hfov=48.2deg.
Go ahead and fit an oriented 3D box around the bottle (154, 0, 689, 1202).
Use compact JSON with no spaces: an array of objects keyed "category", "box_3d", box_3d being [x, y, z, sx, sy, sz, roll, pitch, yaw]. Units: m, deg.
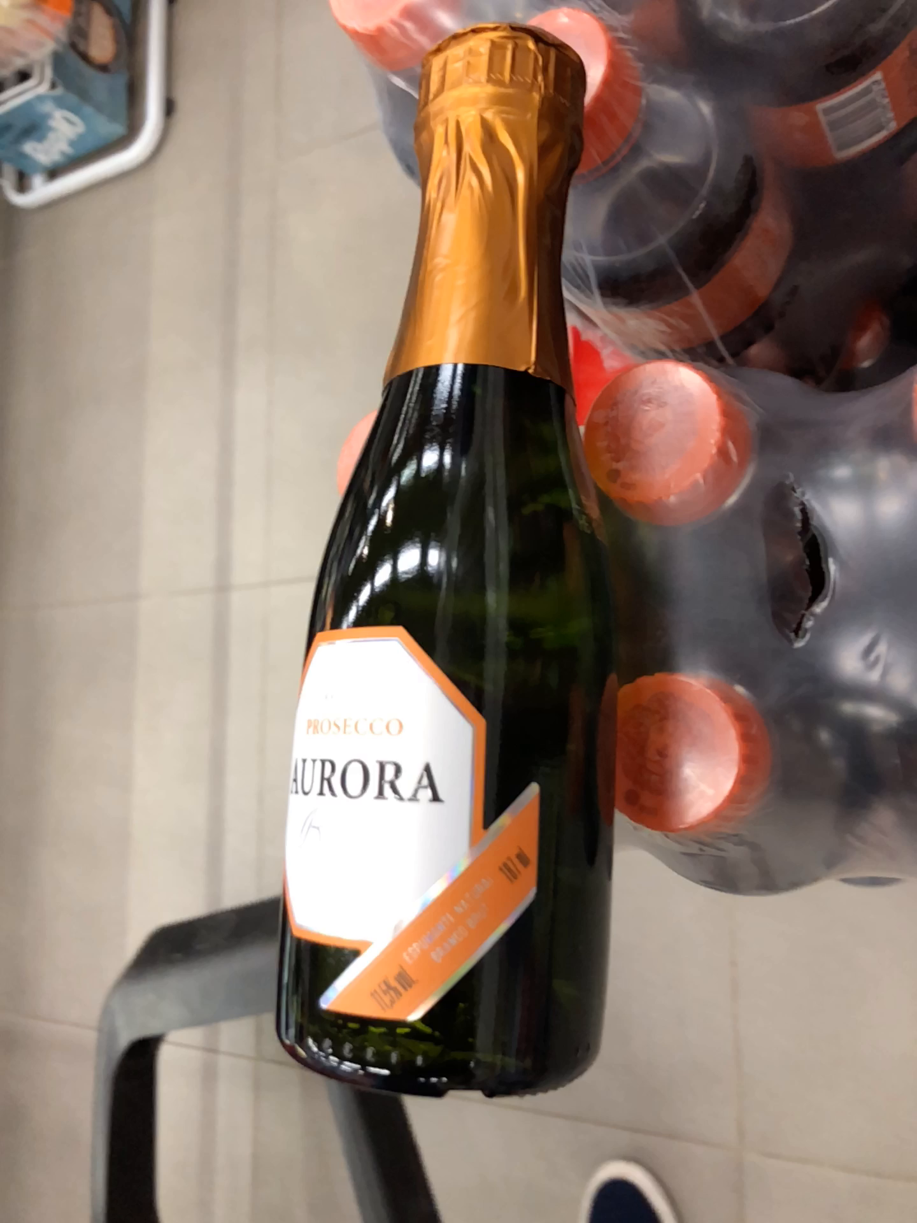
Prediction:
[{"category":"bottle","box_3d":[-0.003,-0.014,0.171,0.060,0.050,0.180,1,85,30]}]
